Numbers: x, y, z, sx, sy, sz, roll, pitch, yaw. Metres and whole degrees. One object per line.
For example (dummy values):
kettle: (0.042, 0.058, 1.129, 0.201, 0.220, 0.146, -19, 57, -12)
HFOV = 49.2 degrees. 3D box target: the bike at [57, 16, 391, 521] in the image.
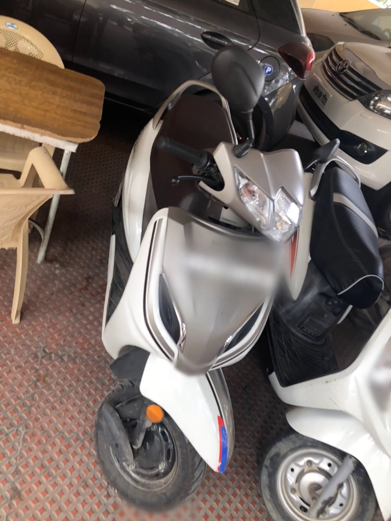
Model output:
bike: (-0.030, -0.024, 1.592, 0.627, 0.850, 1.461, 11, 46, -21)
